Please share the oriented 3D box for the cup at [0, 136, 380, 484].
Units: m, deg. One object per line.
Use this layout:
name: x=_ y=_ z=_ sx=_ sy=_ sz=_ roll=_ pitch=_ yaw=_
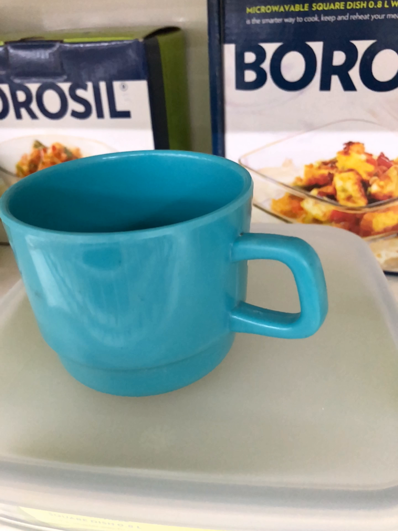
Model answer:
cup: x=-0.003 y=0.001 z=0.164 sx=0.120 sy=0.070 sz=0.091 roll=8 pitch=31 yaw=18
